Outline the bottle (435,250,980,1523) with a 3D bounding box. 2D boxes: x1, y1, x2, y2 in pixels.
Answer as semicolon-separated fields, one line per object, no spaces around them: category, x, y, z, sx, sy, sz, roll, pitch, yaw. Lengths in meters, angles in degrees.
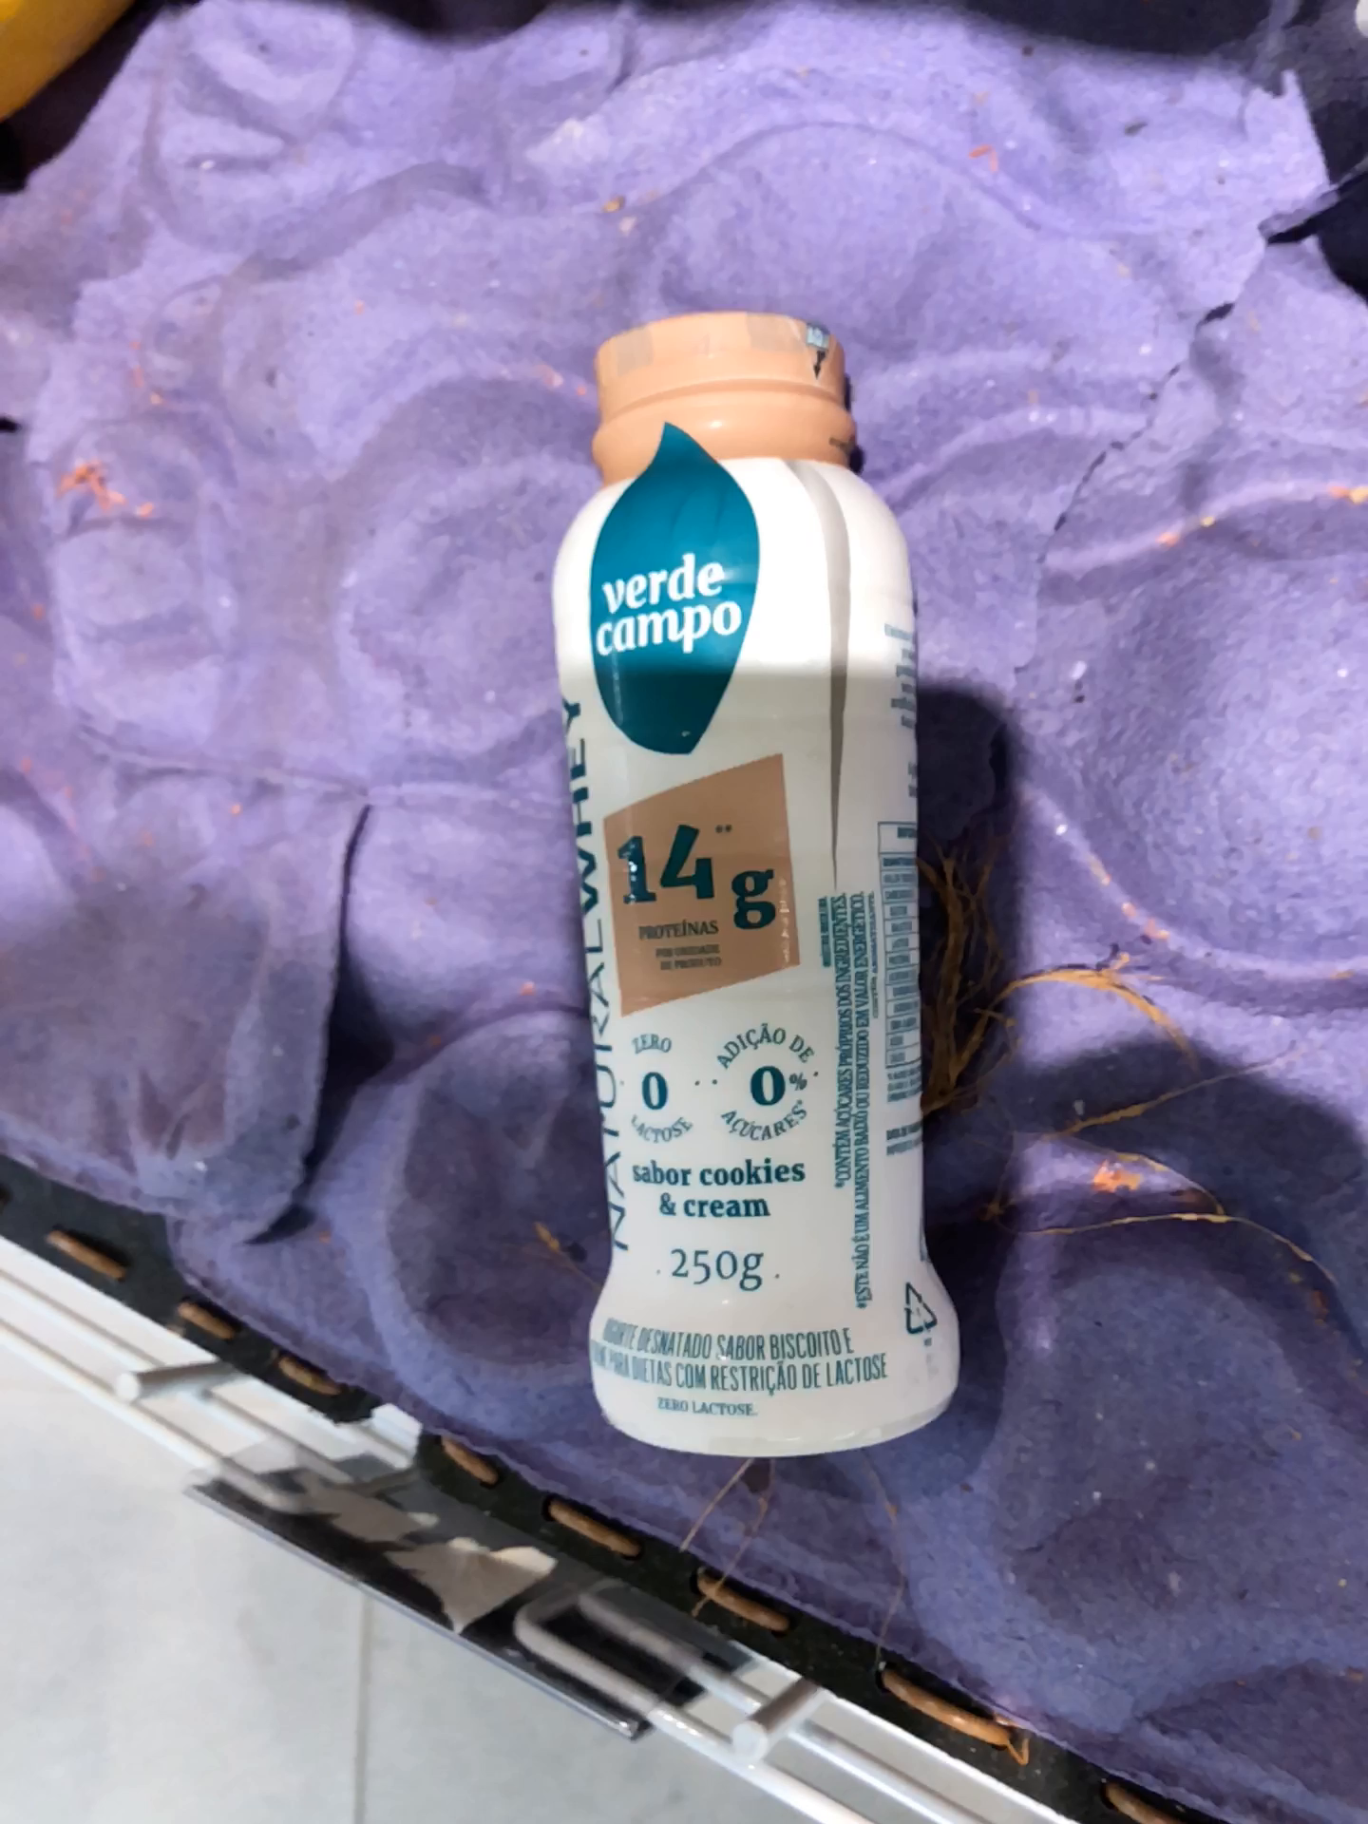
bottle;0.005;-0.002;0.221;0.060;0.040;0.160;-4;88;19
